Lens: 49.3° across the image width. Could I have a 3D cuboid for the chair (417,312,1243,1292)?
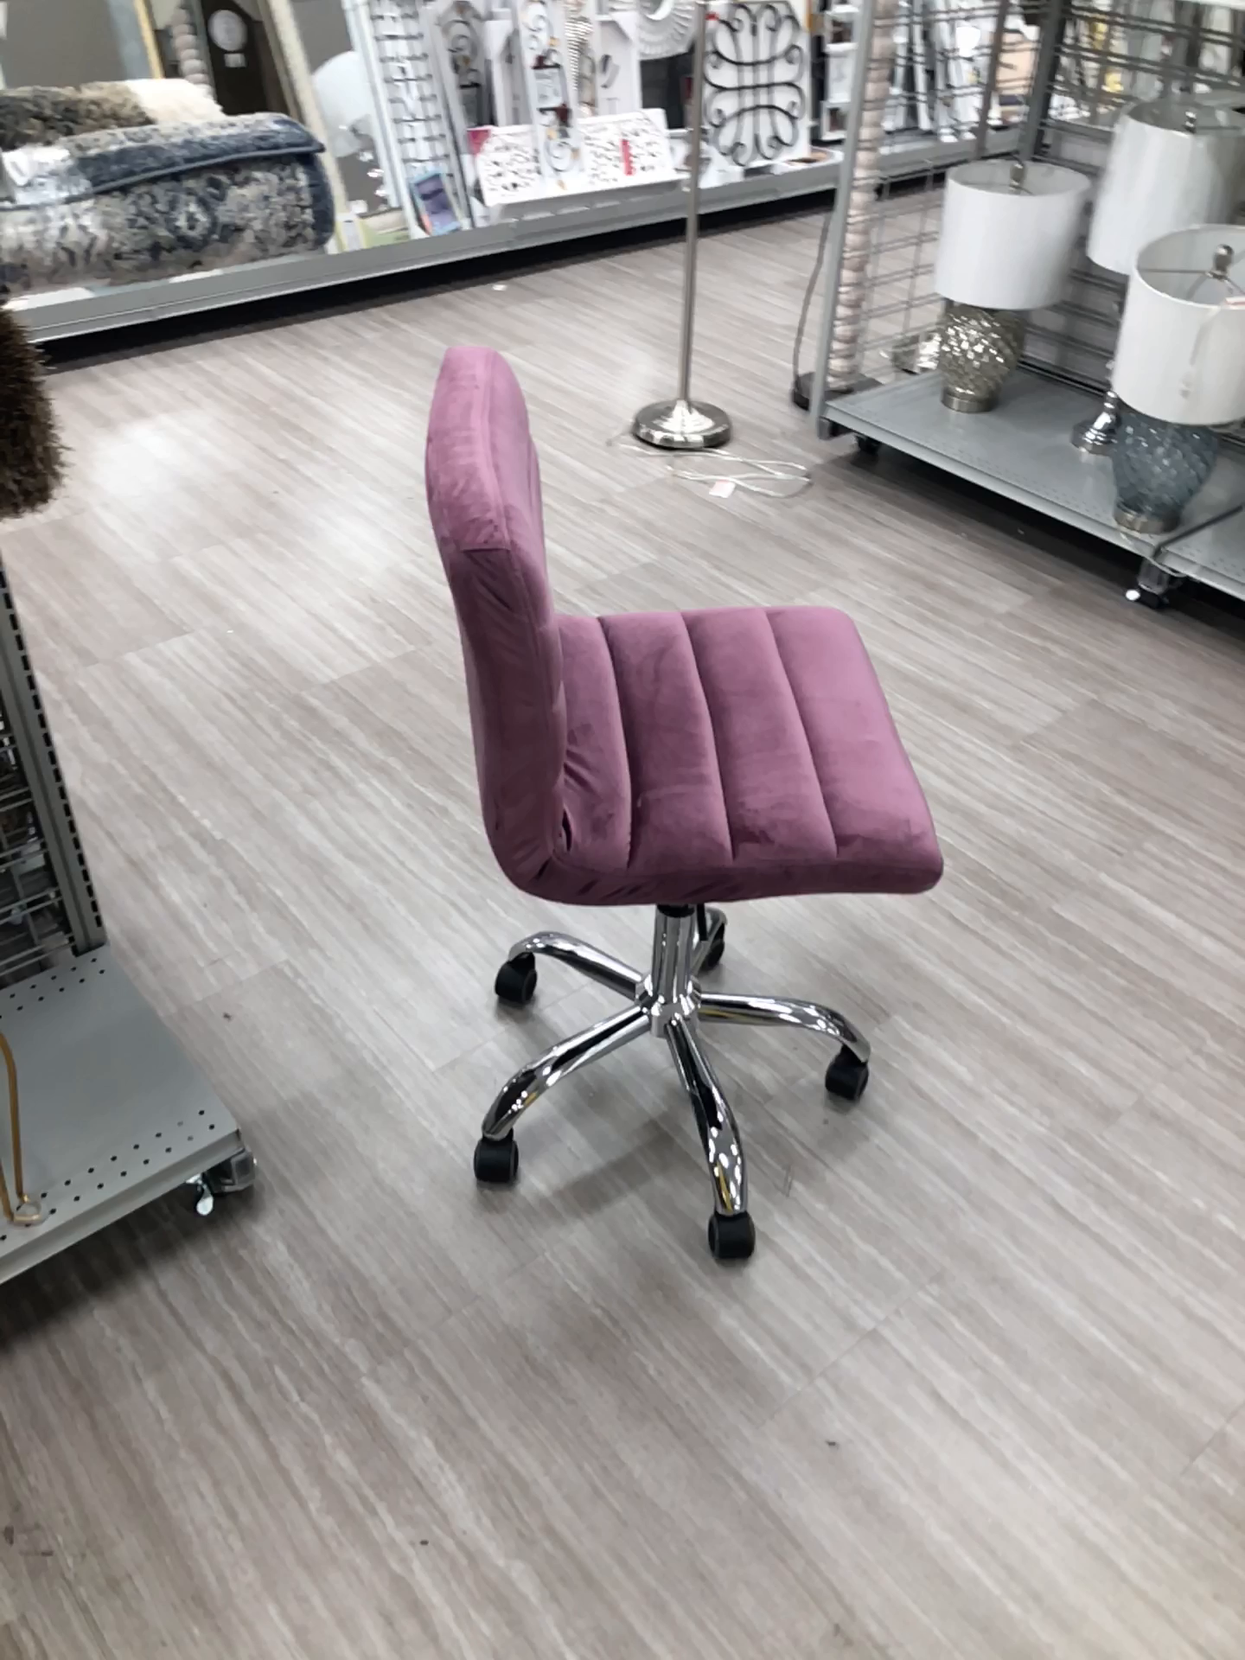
[{"bbox_3d":[0.108,-0.040,1.425,0.577,0.800,0.590,-4,38,-9],"label":"chair"}]
